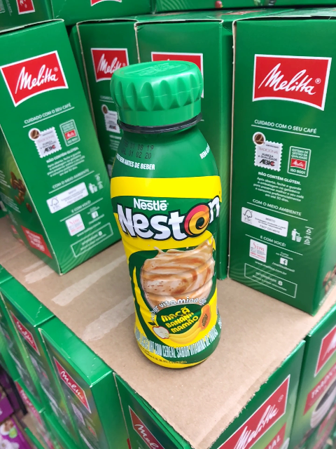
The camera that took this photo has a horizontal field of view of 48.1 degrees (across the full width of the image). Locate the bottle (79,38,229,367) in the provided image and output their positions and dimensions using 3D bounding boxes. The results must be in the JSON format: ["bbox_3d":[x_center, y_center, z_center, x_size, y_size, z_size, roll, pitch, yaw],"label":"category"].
[{"bbox_3d":[0.004,-0.004,0.219,0.060,0.179,0.060,-4,30,2],"label":"bottle"}]
